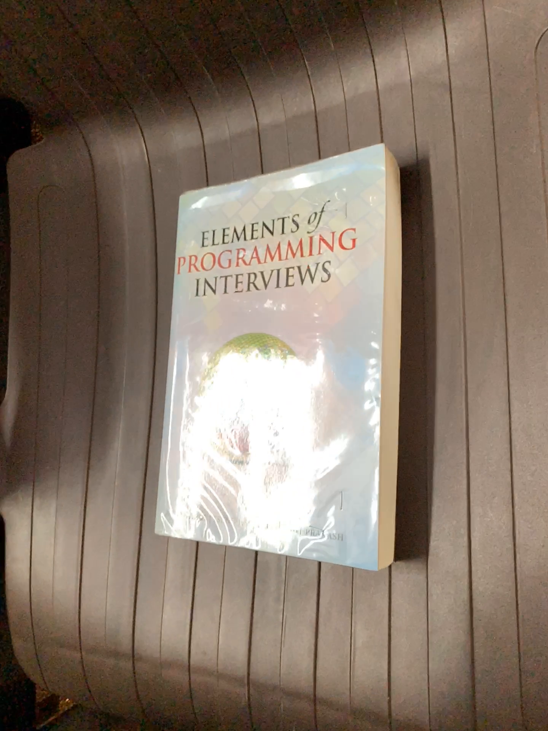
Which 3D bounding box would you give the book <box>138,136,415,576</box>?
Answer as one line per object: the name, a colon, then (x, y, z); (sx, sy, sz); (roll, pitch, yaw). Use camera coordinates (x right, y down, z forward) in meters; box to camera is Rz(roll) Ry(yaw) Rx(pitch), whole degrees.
book: (0.000, -0.005, 0.356); (0.161, 0.050, 0.230); (-2, 81, 31)
